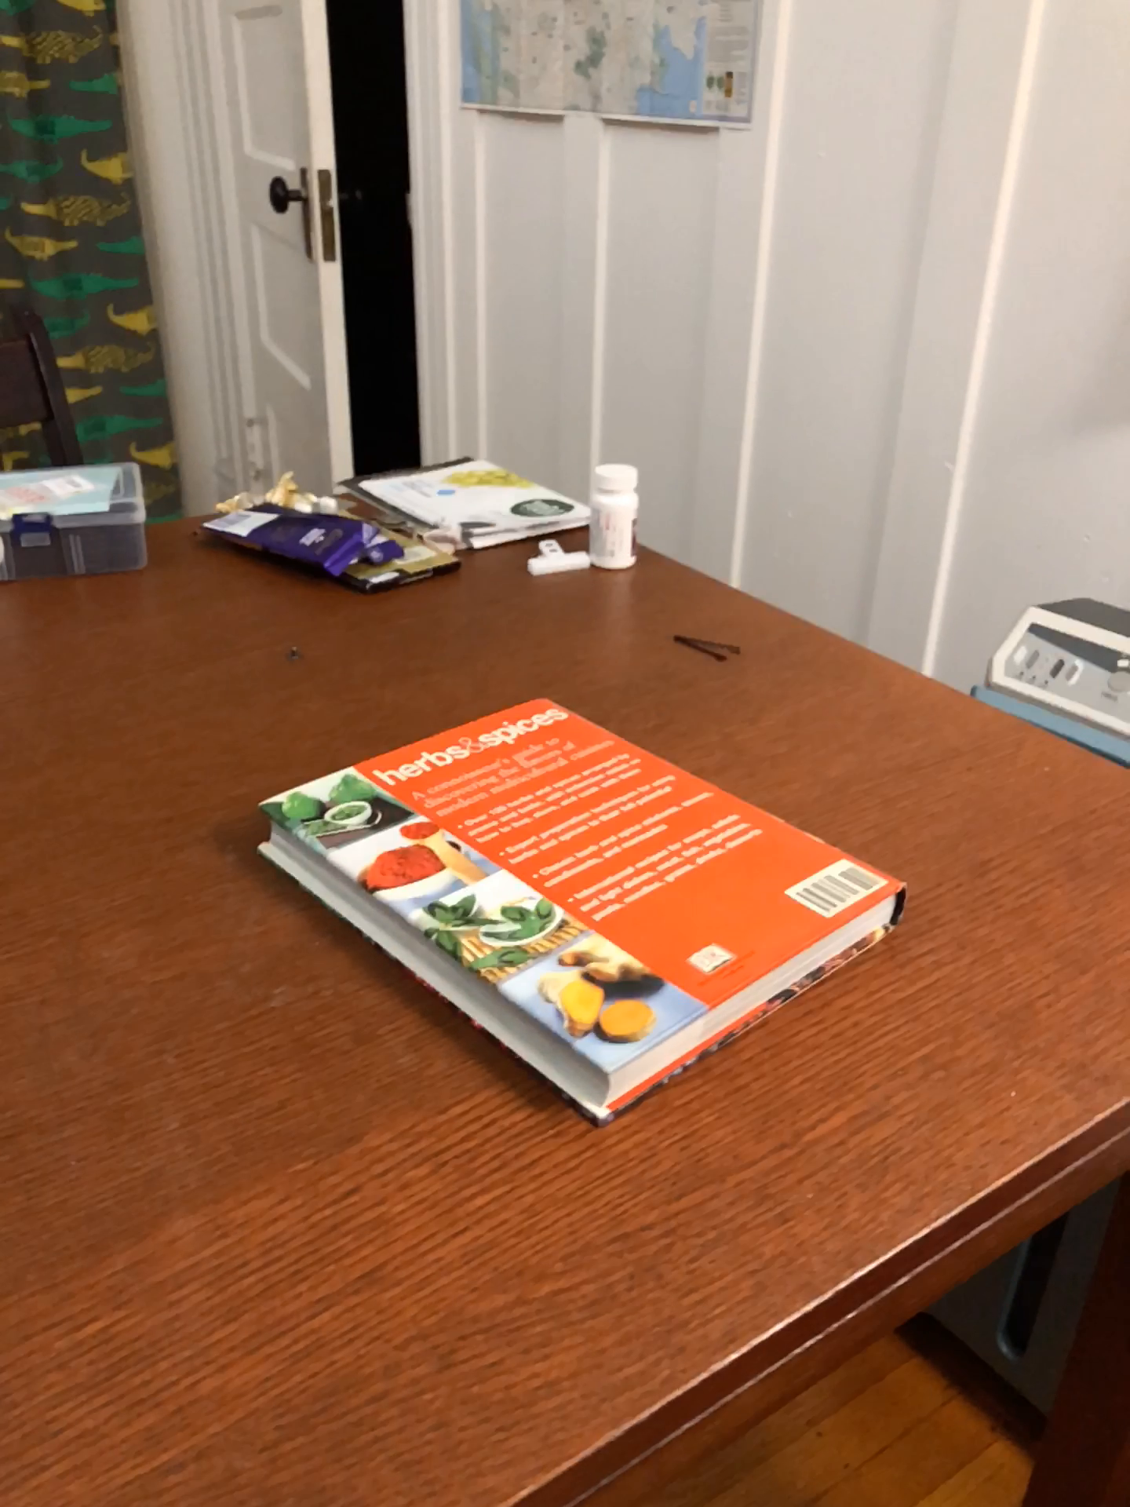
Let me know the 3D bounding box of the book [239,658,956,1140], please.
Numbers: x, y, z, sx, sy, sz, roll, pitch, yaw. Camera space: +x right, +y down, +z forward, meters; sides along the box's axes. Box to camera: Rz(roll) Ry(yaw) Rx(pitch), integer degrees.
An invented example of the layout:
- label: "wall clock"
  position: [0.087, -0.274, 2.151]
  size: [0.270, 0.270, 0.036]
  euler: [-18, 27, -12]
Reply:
- label: "book"
  position: [0.008, 0.042, 0.598]
  size: [0.211, 0.040, 0.271]
  euler: [-22, 36, -37]
